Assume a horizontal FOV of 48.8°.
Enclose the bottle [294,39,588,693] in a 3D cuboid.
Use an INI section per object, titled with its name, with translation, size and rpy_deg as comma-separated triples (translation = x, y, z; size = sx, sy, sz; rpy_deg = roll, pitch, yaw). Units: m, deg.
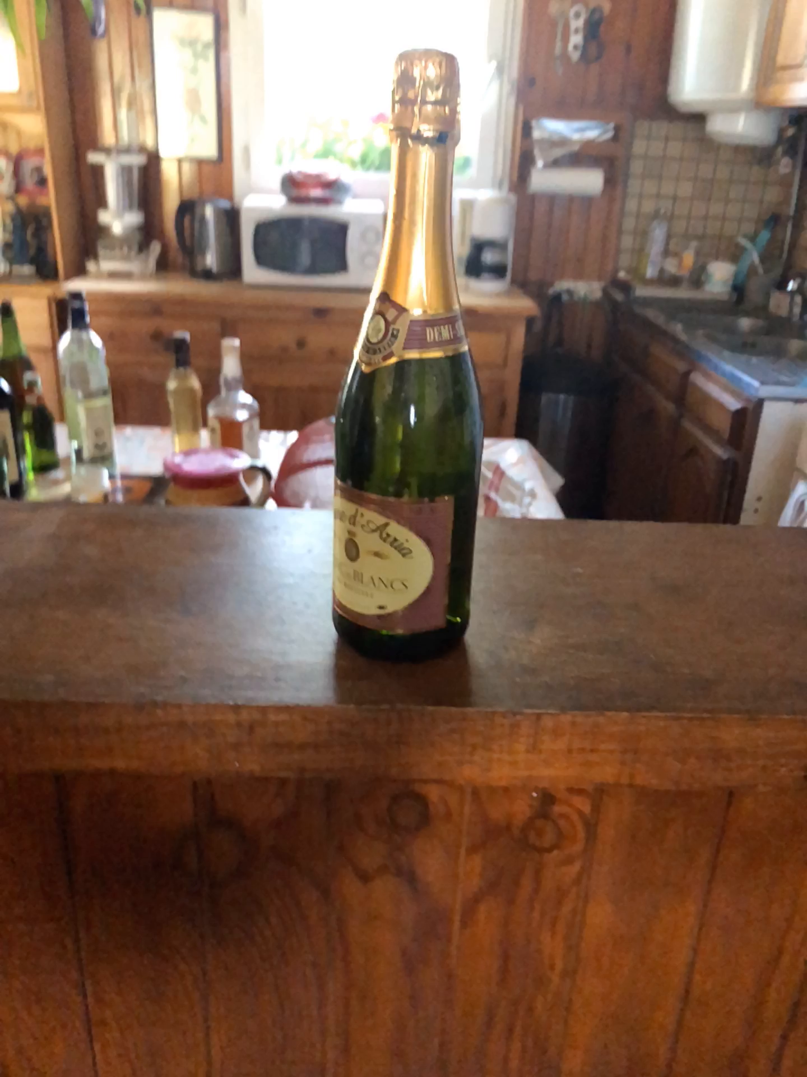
[bottle]
translation = 0.010, -0.083, 0.465
size = 0.100, 0.298, 0.090
rpy_deg = -15, 29, -36
